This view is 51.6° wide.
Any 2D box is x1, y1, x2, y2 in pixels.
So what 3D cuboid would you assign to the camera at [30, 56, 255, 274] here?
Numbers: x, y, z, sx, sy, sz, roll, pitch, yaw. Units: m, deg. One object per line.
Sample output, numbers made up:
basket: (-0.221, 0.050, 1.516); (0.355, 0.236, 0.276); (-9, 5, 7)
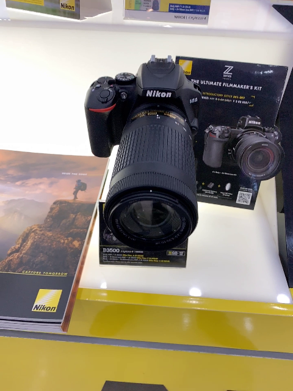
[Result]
camera: (-0.002, -0.039, 0.262); (0.120, 0.100, 0.181); (1, 41, 0)
